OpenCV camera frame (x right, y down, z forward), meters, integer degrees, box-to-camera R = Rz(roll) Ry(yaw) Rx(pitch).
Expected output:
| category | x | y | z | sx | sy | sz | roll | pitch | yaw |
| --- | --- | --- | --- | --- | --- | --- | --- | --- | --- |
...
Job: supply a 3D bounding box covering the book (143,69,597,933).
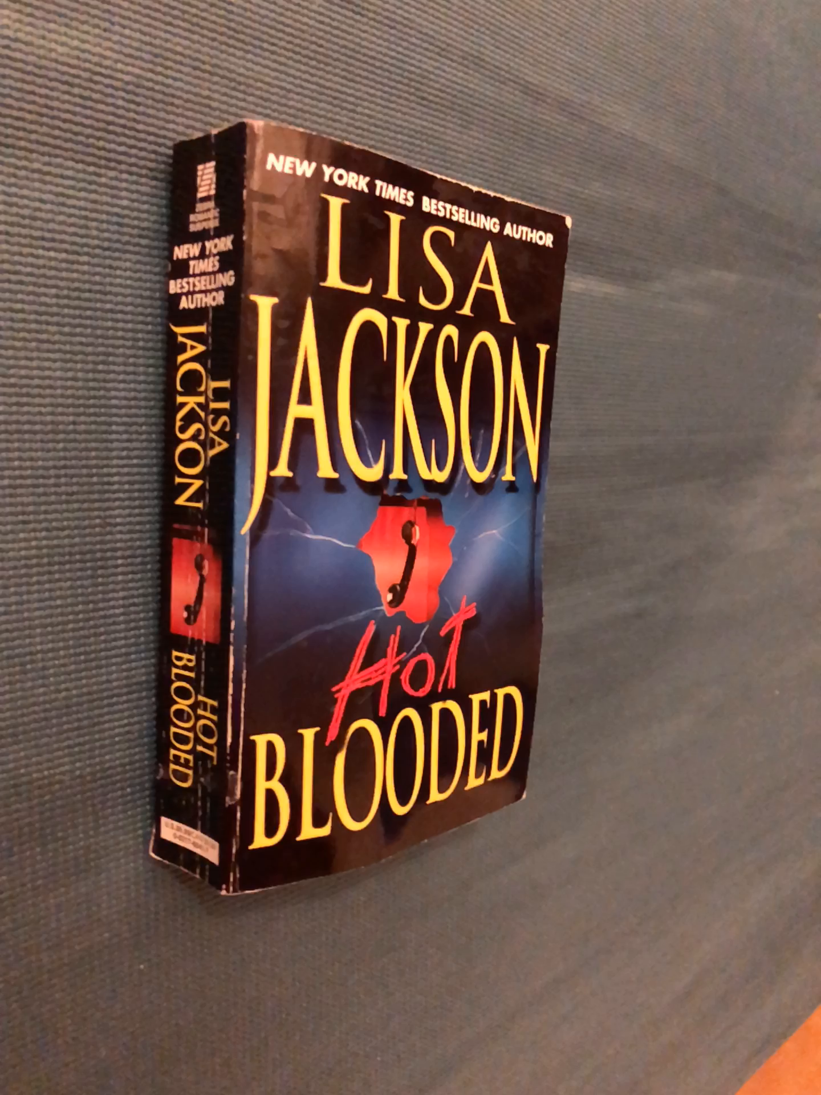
| category | x | y | z | sx | sy | sz | roll | pitch | yaw |
| --- | --- | --- | --- | --- | --- | --- | --- | --- | --- |
| book | -0.008 | -0.009 | 0.229 | 0.104 | 0.040 | 0.171 | -2 | 97 | -40 |
